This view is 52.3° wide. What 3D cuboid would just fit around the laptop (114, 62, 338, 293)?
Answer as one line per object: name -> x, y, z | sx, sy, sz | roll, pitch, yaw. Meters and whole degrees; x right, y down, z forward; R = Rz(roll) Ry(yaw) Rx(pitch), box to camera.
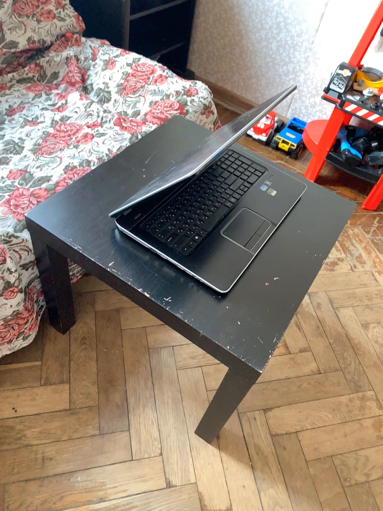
laptop -> 0.076, -0.182, 0.789 | 0.257, 0.201, 0.406 | 31, 51, 14
